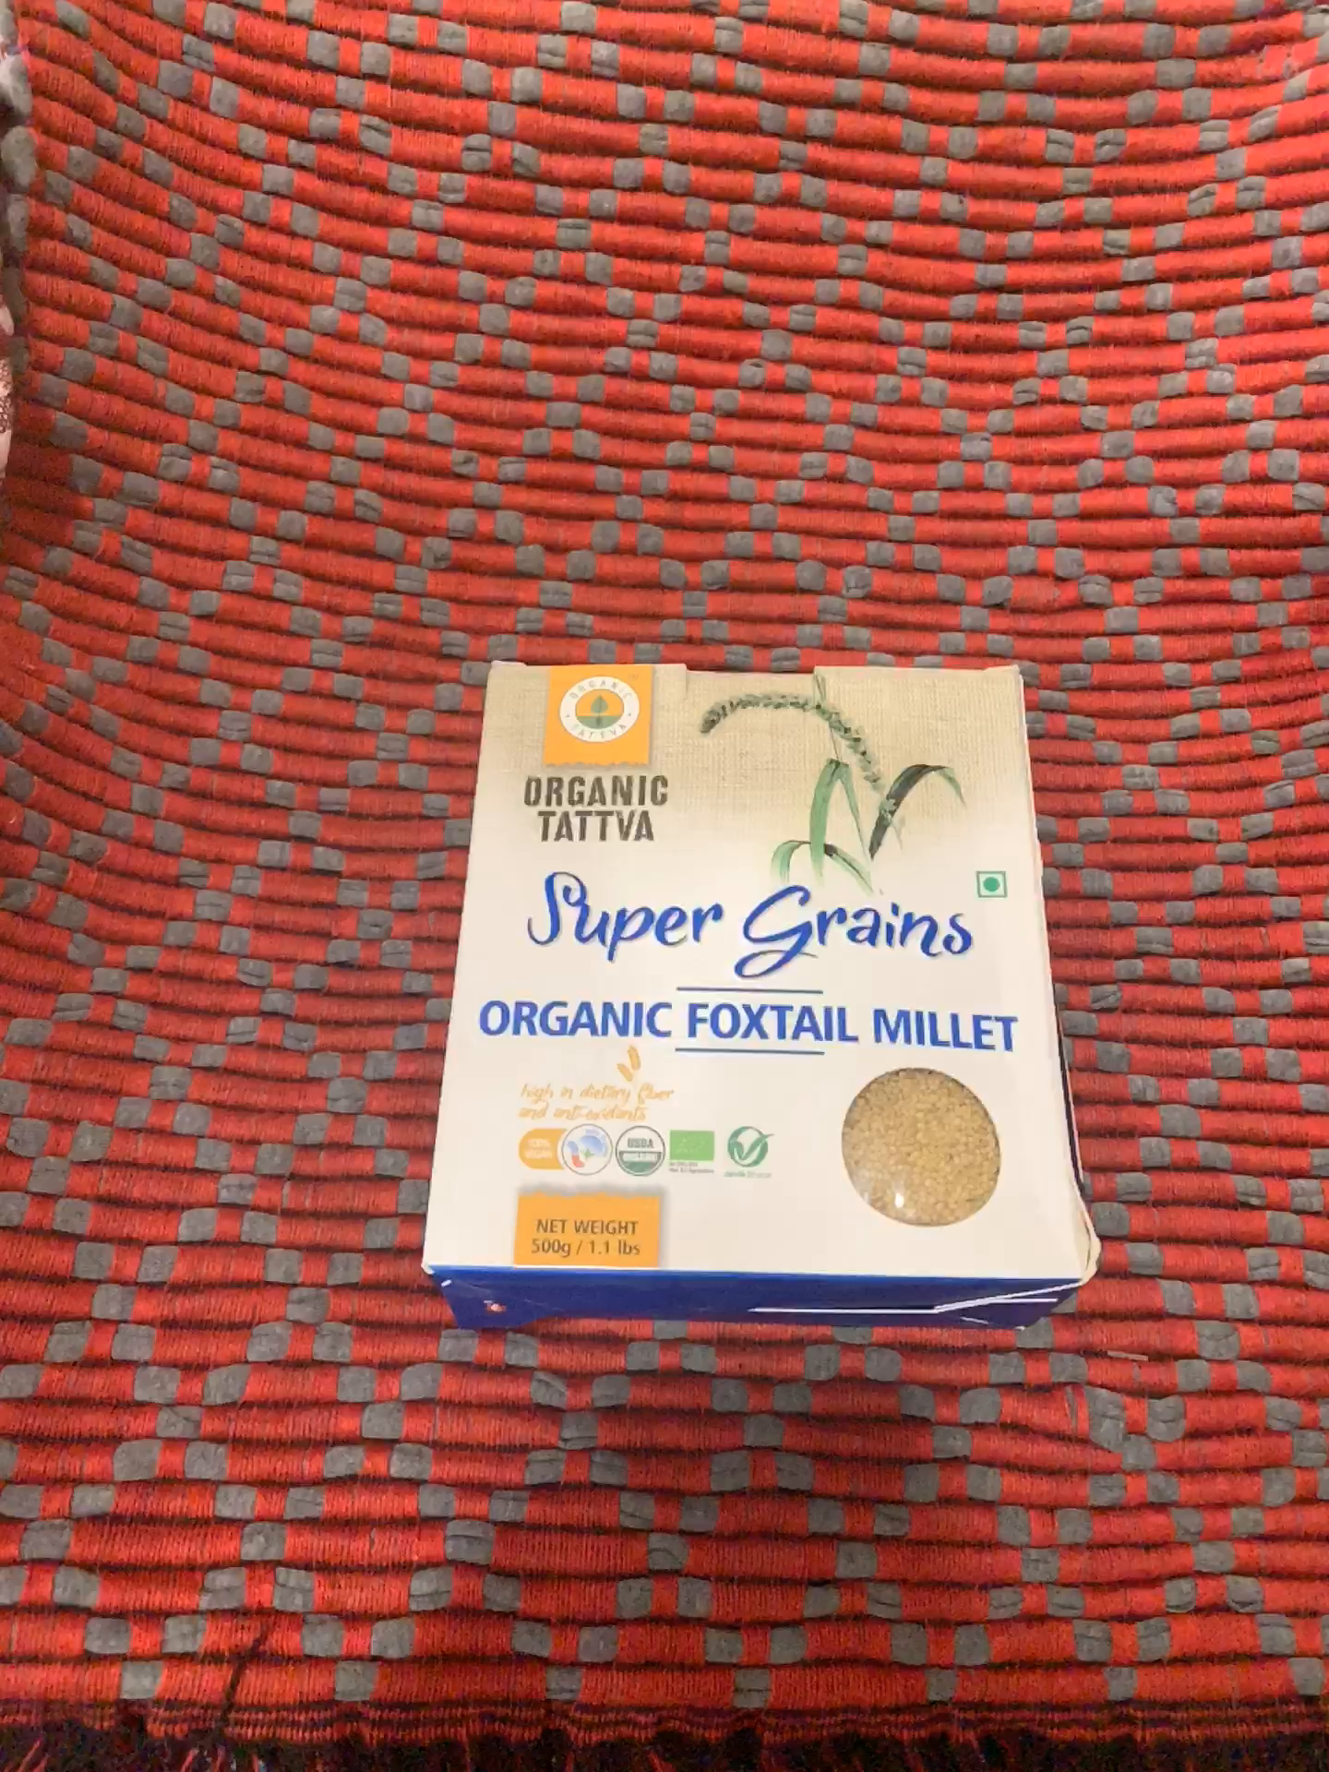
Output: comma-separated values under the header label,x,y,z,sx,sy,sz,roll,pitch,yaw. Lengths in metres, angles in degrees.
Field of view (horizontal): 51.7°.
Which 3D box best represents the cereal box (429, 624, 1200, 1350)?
label,x,y,z,sx,sy,sz,roll,pitch,yaw
cereal box,0.029,0.020,0.311,0.140,0.060,0.150,1,63,2
